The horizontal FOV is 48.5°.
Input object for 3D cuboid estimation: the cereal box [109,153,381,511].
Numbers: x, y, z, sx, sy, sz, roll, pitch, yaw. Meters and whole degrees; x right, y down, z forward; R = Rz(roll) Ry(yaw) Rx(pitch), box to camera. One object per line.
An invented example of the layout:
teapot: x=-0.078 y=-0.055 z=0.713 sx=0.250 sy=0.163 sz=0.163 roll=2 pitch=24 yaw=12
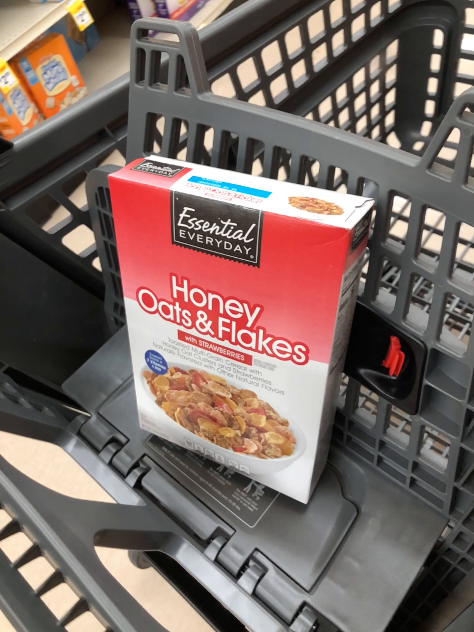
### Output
cereal box: x=-0.001 y=0.018 z=0.433 sx=0.180 sy=0.260 sz=0.060 roll=17 pitch=36 yaw=23
